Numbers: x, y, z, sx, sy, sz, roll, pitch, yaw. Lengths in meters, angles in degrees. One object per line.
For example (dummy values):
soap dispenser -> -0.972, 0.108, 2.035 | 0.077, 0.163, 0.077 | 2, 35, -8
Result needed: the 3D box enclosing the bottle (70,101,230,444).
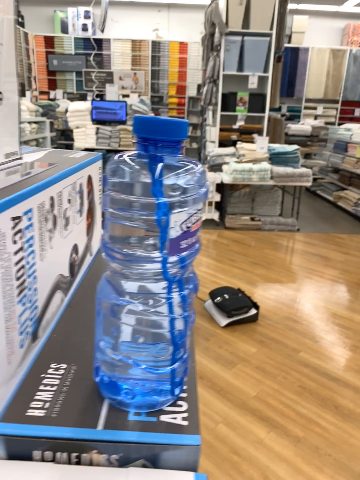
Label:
bottle -> -0.021, 0.022, 0.294 | 0.081, 0.243, 0.081 | 2, 18, -1
